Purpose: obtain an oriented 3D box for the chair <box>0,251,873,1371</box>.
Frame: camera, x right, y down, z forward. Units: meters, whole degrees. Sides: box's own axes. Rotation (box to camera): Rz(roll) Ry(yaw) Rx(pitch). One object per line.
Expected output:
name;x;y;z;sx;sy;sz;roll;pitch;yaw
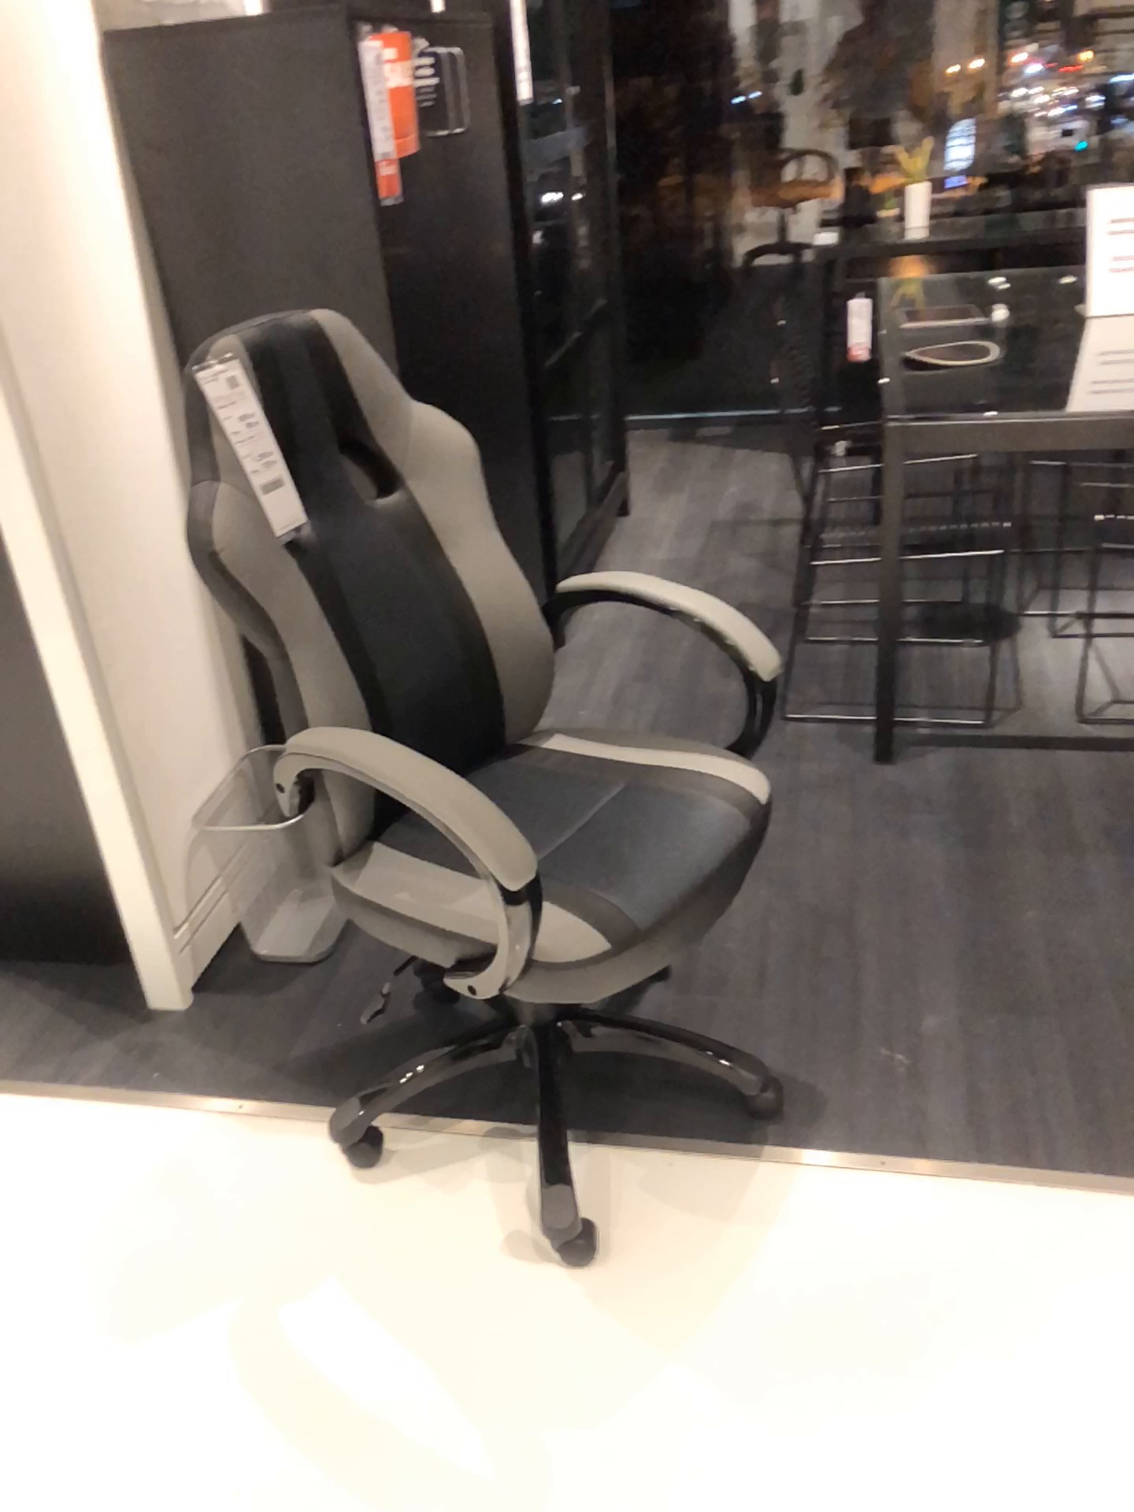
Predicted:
chair;-0.118;-0.010;1.691;0.782;1.161;0.714;16;35;35
